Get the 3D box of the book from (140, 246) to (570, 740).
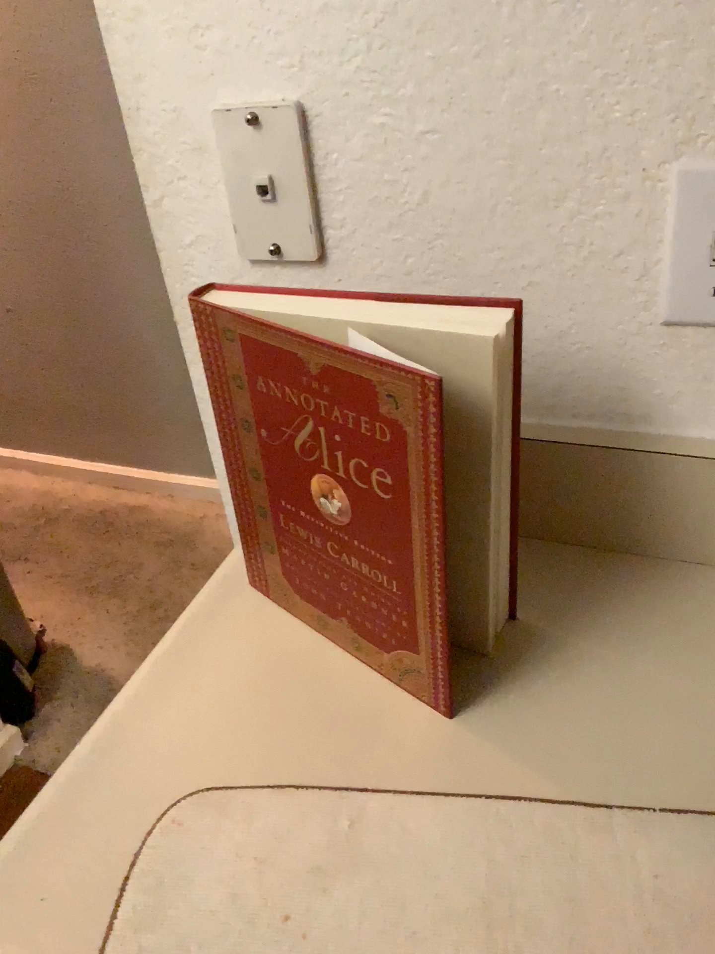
[{"bbox_3d":[0.007,-0.002,0.569,0.230,0.260,0.150,20,42,36],"label":"book"}]
